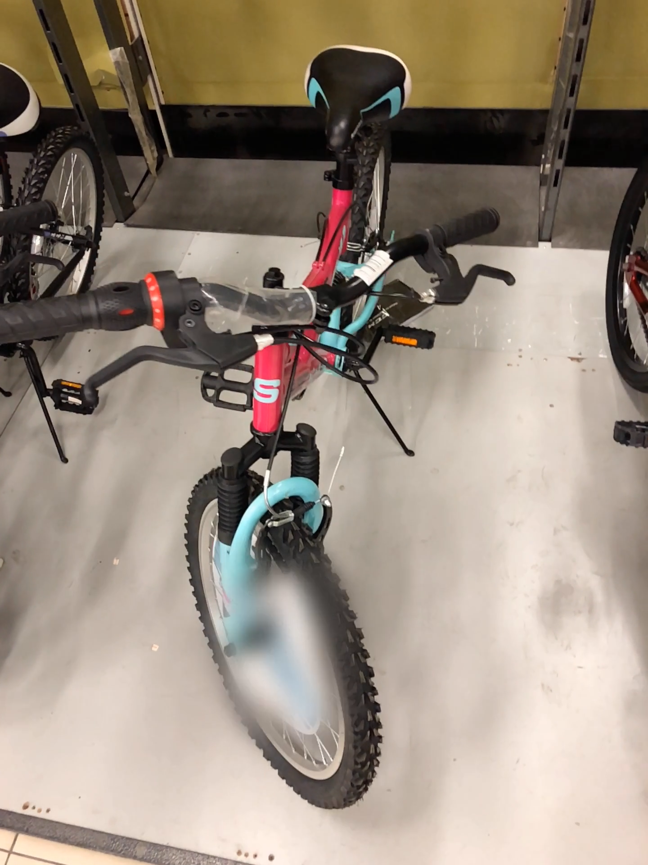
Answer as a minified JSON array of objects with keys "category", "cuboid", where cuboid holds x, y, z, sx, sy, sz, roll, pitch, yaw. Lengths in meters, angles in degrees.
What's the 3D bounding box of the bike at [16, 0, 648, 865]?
[{"category":"bike","cuboid":[0.123,-0.127,1.099,0.563,0.764,1.219,0,56,7]}]
